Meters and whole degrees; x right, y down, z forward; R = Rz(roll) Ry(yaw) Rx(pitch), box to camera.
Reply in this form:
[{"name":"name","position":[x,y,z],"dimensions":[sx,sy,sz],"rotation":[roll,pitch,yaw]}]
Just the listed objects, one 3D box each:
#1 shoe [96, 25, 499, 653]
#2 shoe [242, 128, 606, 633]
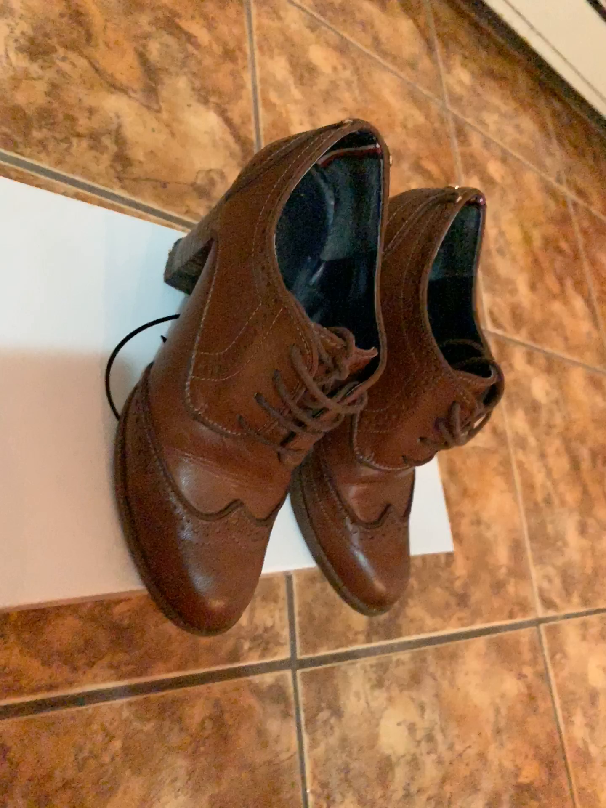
[{"name":"shoe","position":[-0.017,-0.014,0.287],"dimensions":[0.096,0.136,0.228],"rotation":[12,65,-40]},{"name":"shoe","position":[0.061,-0.002,0.354],"dimensions":[0.096,0.136,0.228],"rotation":[3,71,-42]}]
